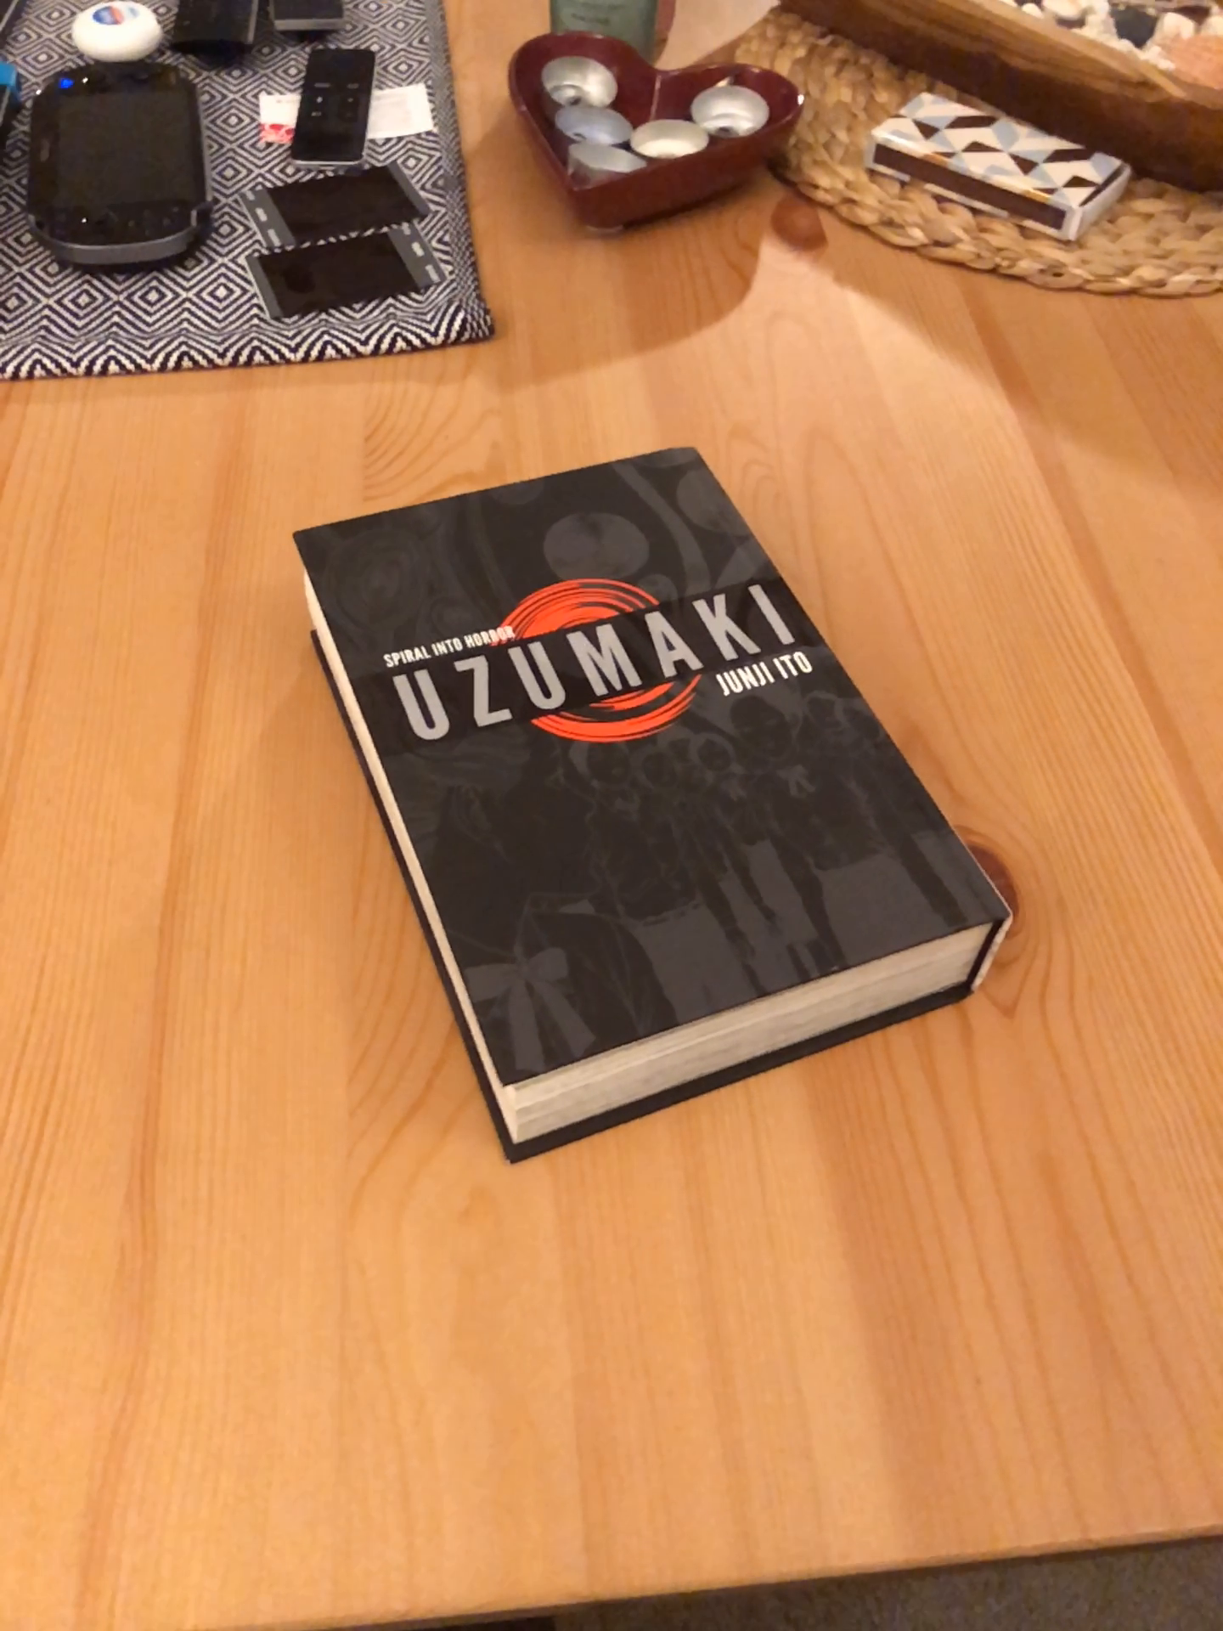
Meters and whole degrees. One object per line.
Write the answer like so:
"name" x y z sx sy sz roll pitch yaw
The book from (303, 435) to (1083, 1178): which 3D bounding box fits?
"book" 0.012 -0.018 0.408 0.157 0.048 0.204 -16 56 -15
